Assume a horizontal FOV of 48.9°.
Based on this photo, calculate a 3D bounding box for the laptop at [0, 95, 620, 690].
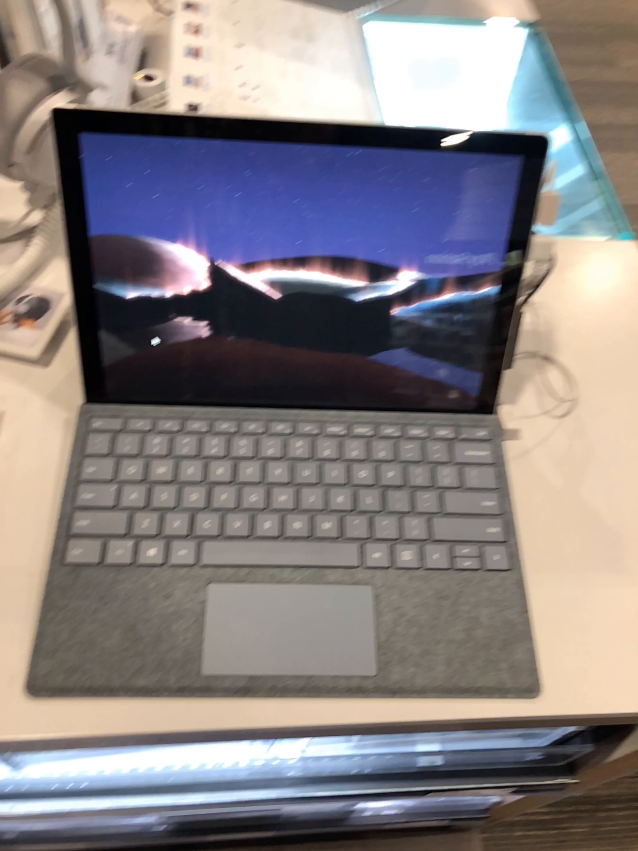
[{"bbox_3d":[-0.013,-0.022,0.396,0.261,0.143,0.284,1,60,0],"label":"laptop"}]
